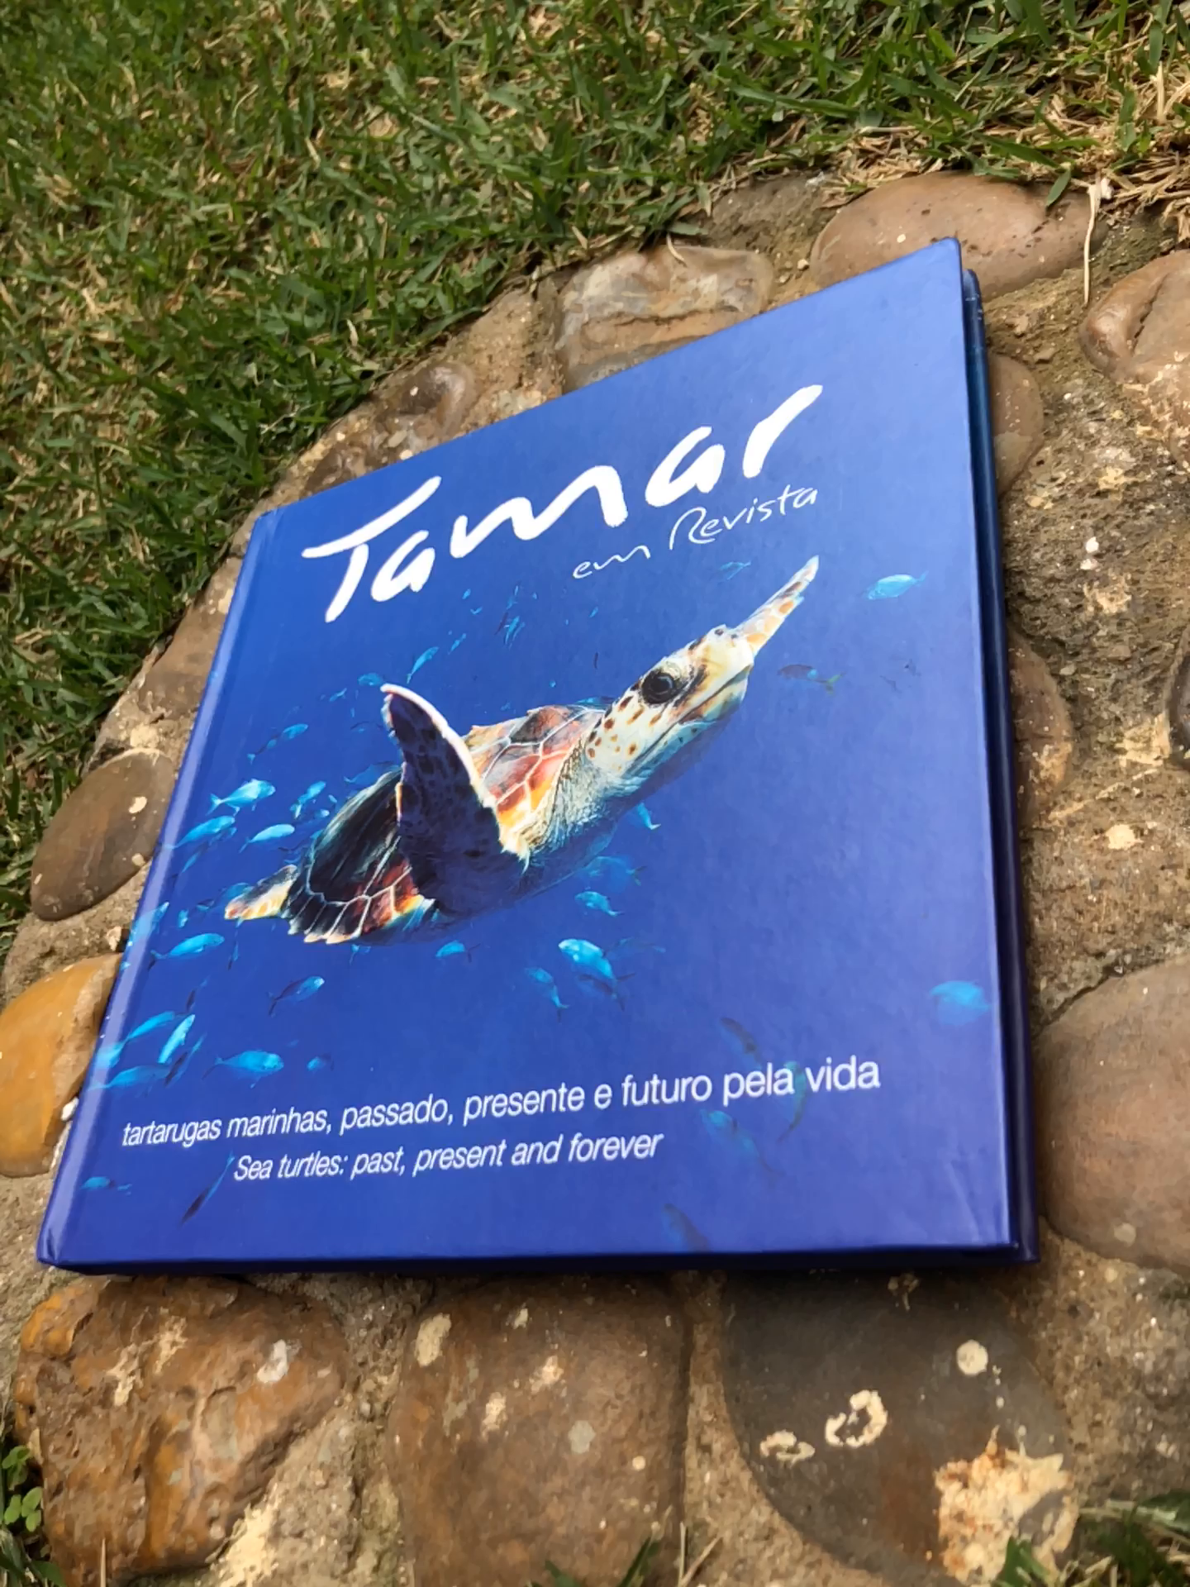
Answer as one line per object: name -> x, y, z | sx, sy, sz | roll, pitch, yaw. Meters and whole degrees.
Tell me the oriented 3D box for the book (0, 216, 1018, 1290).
book -> -0.022, -0.004, 0.233 | 0.179, 0.020, 0.167 | -12, 55, 31
